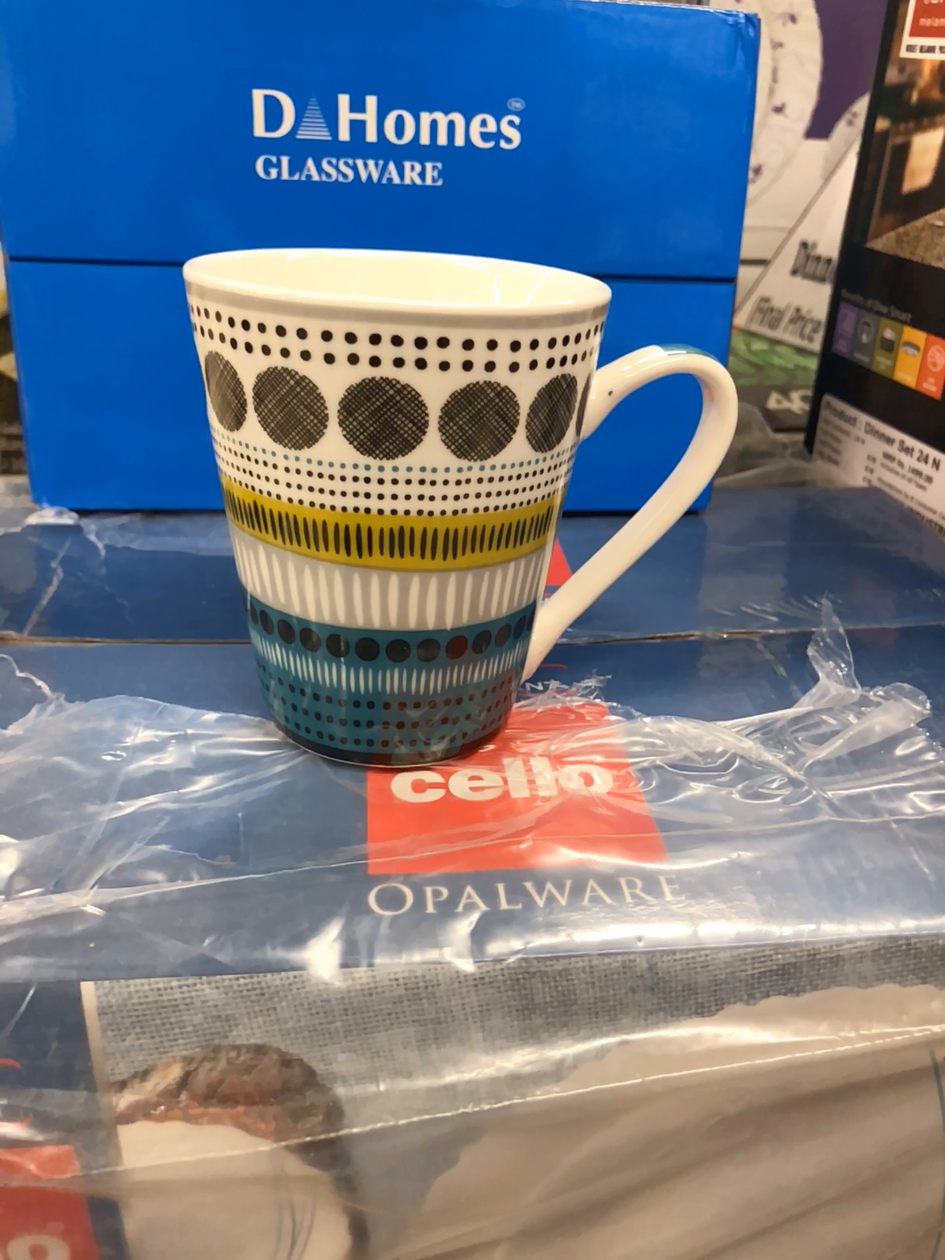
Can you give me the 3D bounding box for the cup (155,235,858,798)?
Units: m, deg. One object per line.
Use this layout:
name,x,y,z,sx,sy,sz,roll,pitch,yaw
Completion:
cup,-0.002,-0.033,0.234,0.120,0.089,0.090,-4,28,-13
